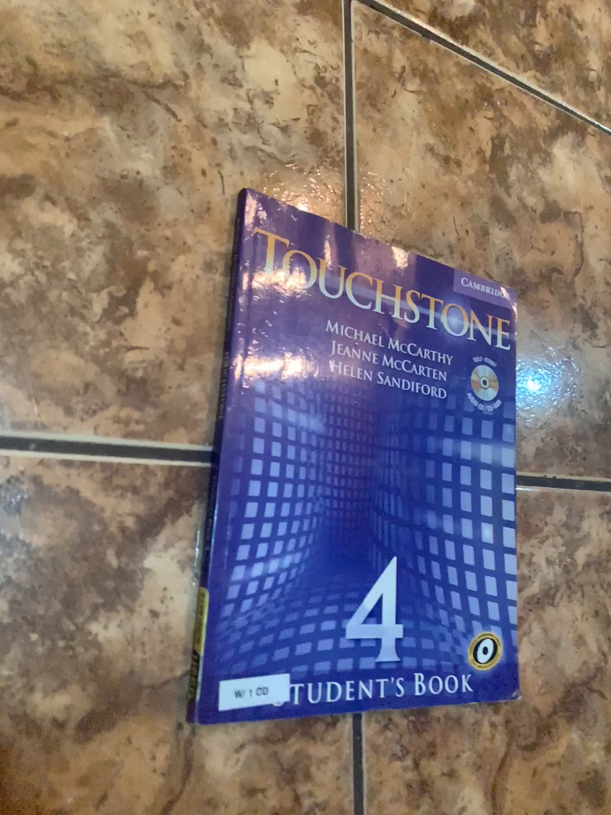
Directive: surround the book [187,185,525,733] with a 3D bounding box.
[{"bbox_3d":[0.049,0.031,0.369,0.220,0.010,0.275,11,75,-30],"label":"book"}]
